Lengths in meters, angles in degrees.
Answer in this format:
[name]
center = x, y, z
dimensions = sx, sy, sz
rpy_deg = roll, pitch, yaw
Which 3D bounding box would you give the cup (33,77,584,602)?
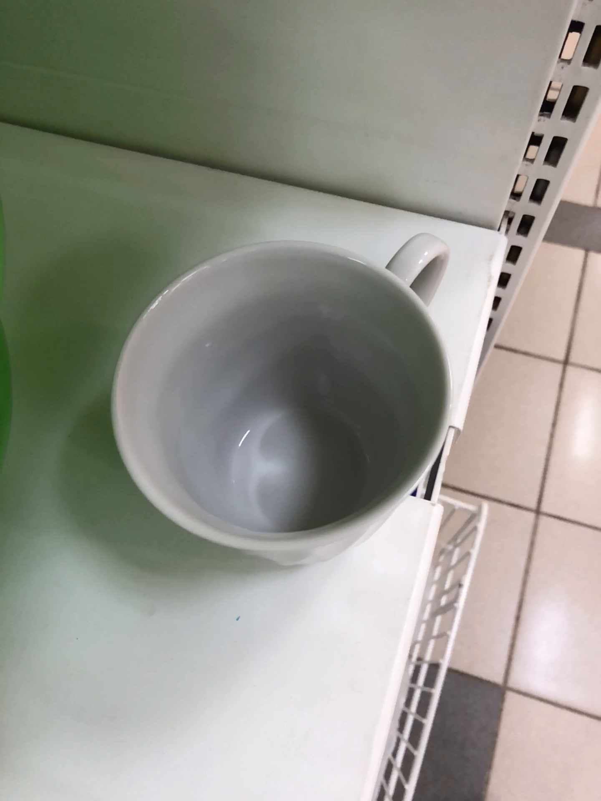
[cup]
center = 0.005, -0.015, 0.215
dimensions = 0.090, 0.080, 0.119
rpy_deg = 42, 77, 18
